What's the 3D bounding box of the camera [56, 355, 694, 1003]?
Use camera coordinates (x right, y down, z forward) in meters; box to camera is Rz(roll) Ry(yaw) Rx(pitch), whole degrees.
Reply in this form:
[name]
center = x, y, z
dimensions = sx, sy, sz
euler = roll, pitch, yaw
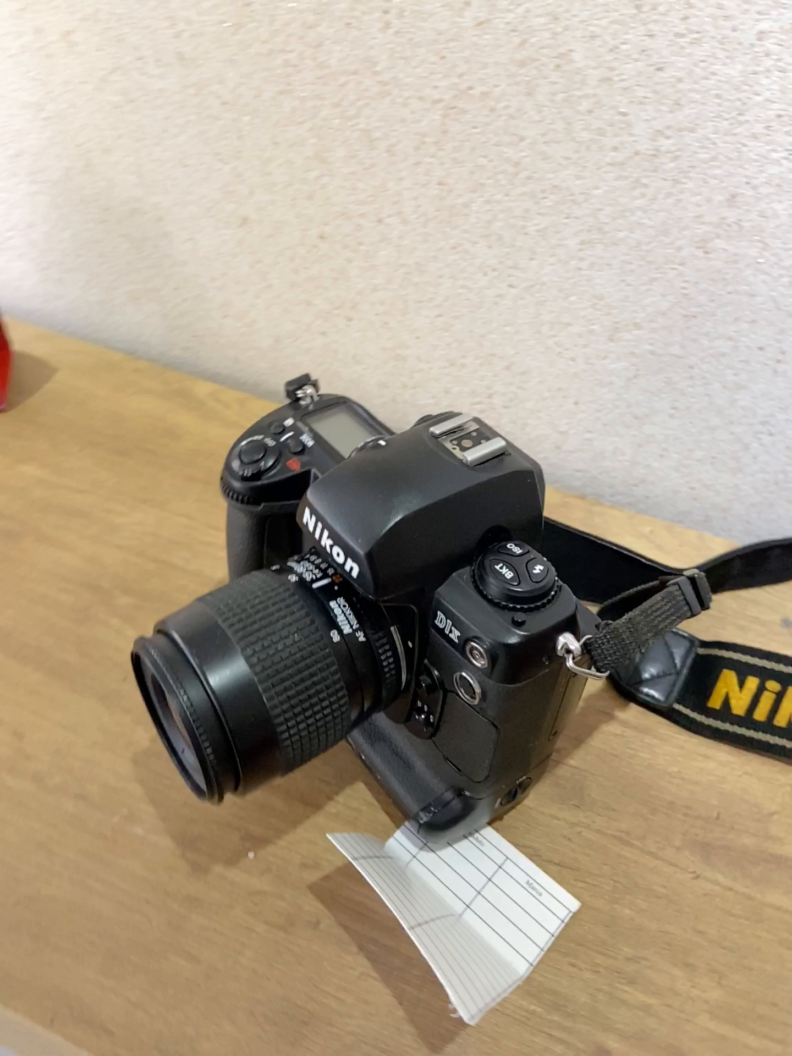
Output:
[camera]
center = -0.011, 0.045, 0.324
dimensions = 0.161, 0.129, 0.150
euler = -28, 51, -30
